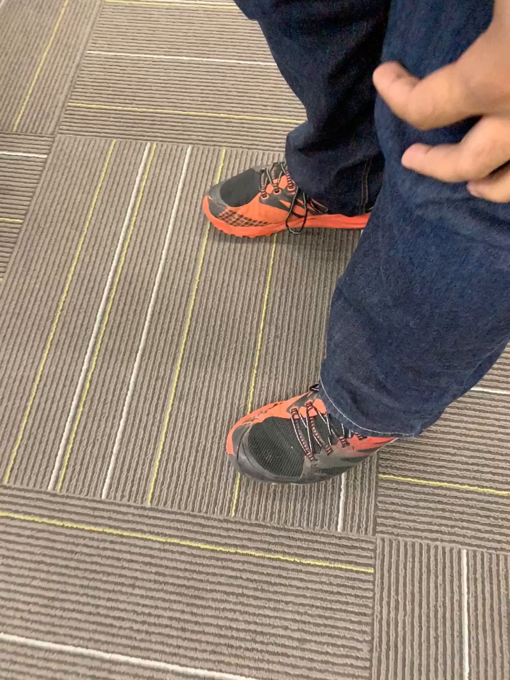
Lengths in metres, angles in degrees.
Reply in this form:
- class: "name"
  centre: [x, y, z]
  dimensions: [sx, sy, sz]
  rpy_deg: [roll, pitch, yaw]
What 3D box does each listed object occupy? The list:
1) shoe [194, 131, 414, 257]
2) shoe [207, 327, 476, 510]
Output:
- class: "shoe"
  centre: [0.072, -0.233, 0.847]
  dimensions: [0.320, 0.120, 0.120]
  rpy_deg: [-5, 68, 1]
- class: "shoe"
  centre: [0.105, 0.105, 0.686]
  dimensions: [0.300, 0.100, 0.130]
  rpy_deg: [-18, 68, -4]
